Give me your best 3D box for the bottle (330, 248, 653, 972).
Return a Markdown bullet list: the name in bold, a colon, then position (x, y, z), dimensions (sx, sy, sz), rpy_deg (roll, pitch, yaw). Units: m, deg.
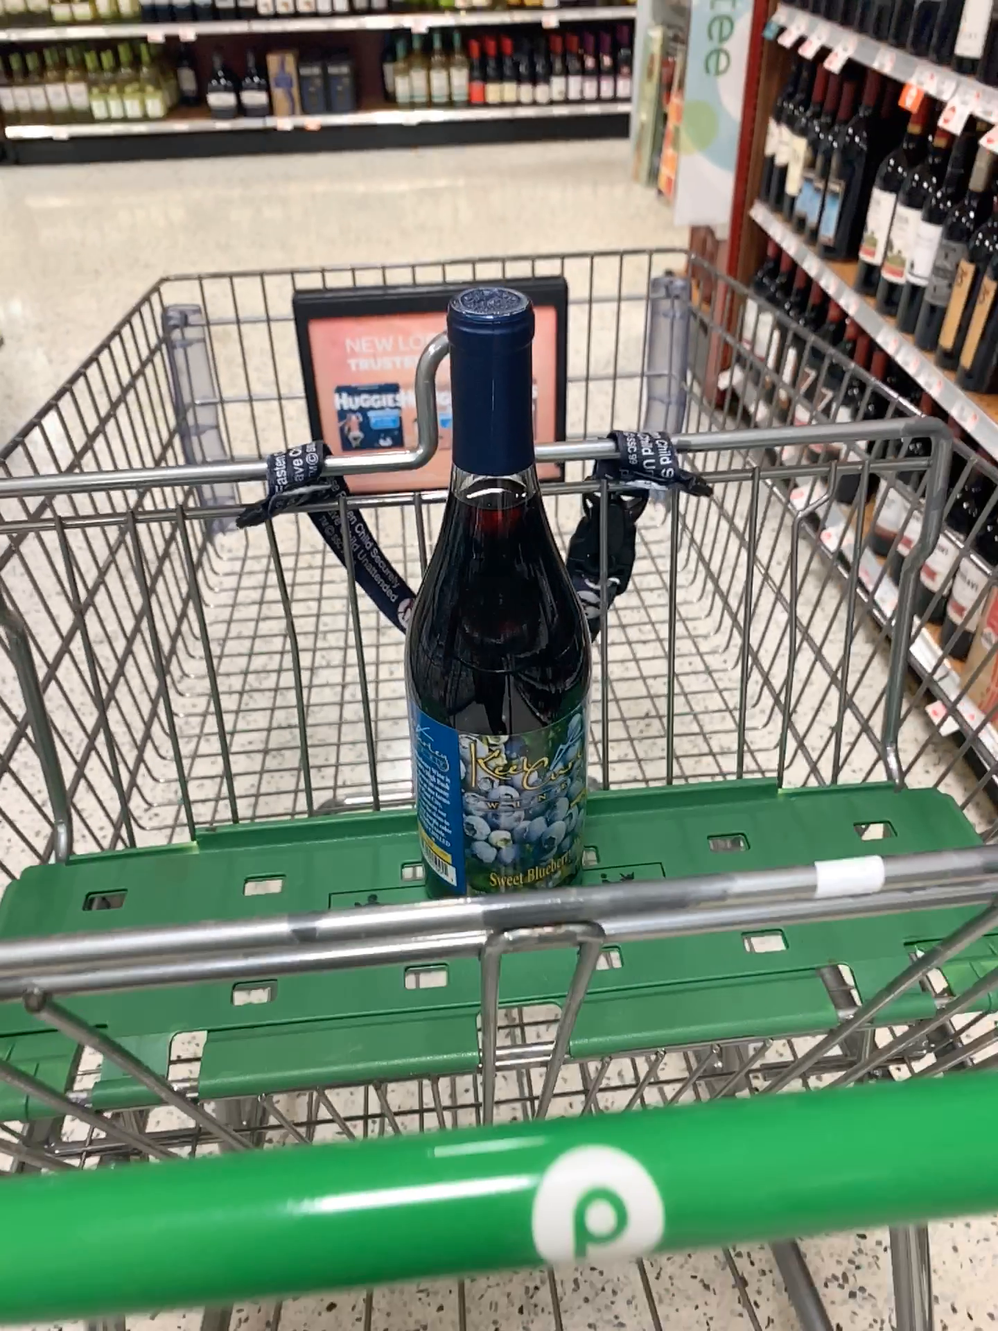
- **bottle**: position (-0.001, -0.006, 0.420), dimensions (0.080, 0.286, 0.075), rpy_deg (-1, 38, 1)
